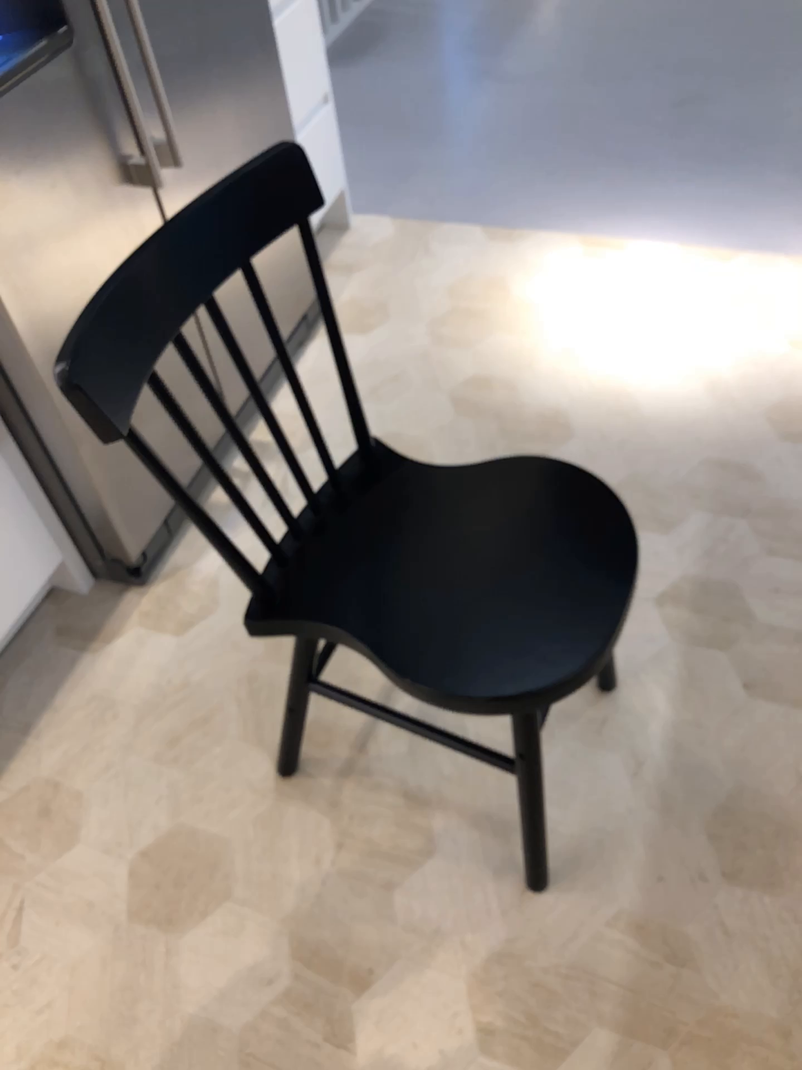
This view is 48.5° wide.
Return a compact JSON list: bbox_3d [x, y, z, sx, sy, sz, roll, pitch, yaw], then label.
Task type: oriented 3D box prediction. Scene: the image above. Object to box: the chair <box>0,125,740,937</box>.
[{"bbox_3d":[0.024,0.016,1.058,0.511,0.745,0.482,16,52,21],"label":"chair"}]
